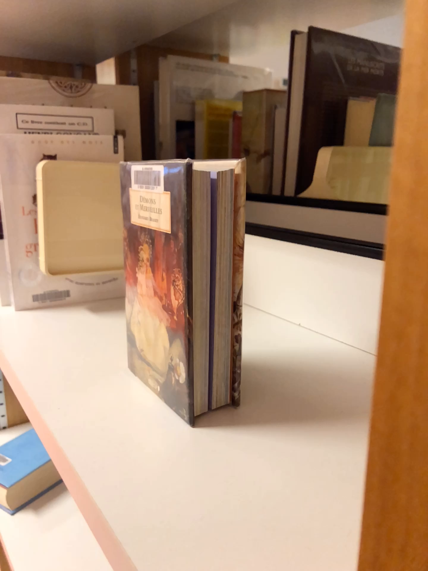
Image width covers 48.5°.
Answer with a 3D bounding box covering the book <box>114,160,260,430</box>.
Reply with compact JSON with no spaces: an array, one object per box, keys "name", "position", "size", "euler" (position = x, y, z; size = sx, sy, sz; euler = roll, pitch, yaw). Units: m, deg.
[{"name":"book","position":[-0.024,-0.004,0.326],"size":[0.047,0.156,0.114],"euler":[-7,15,-30]}]
